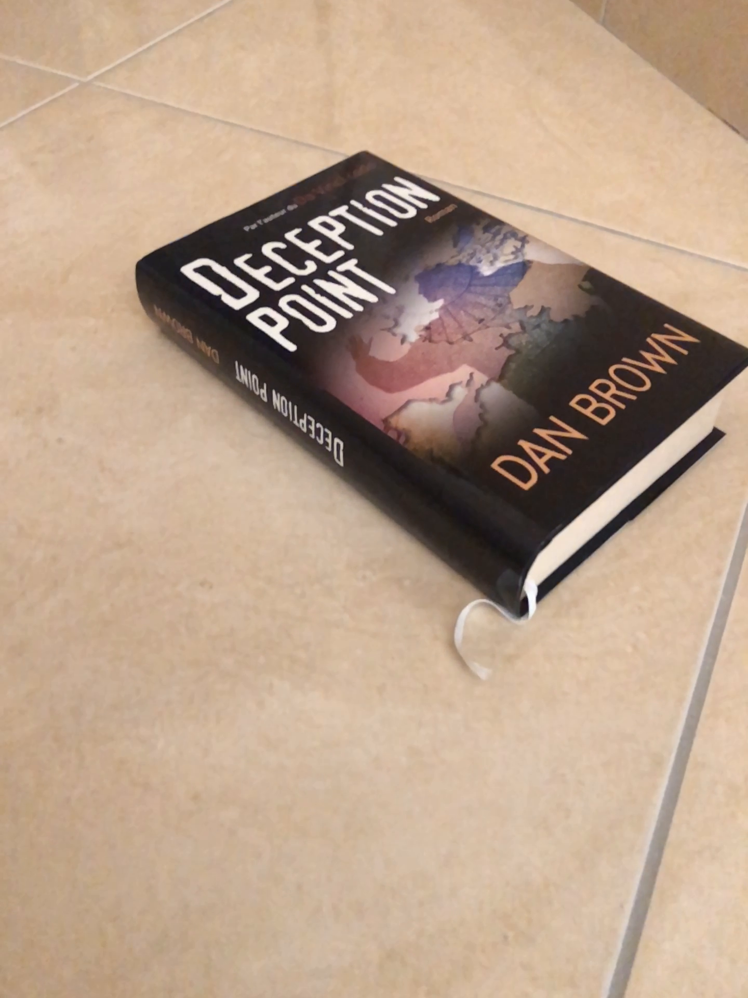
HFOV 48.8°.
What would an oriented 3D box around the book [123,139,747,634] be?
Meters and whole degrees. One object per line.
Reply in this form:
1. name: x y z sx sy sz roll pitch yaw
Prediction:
1. book: 0.022 -0.064 0.327 0.137 0.037 0.212 -37 59 -26
